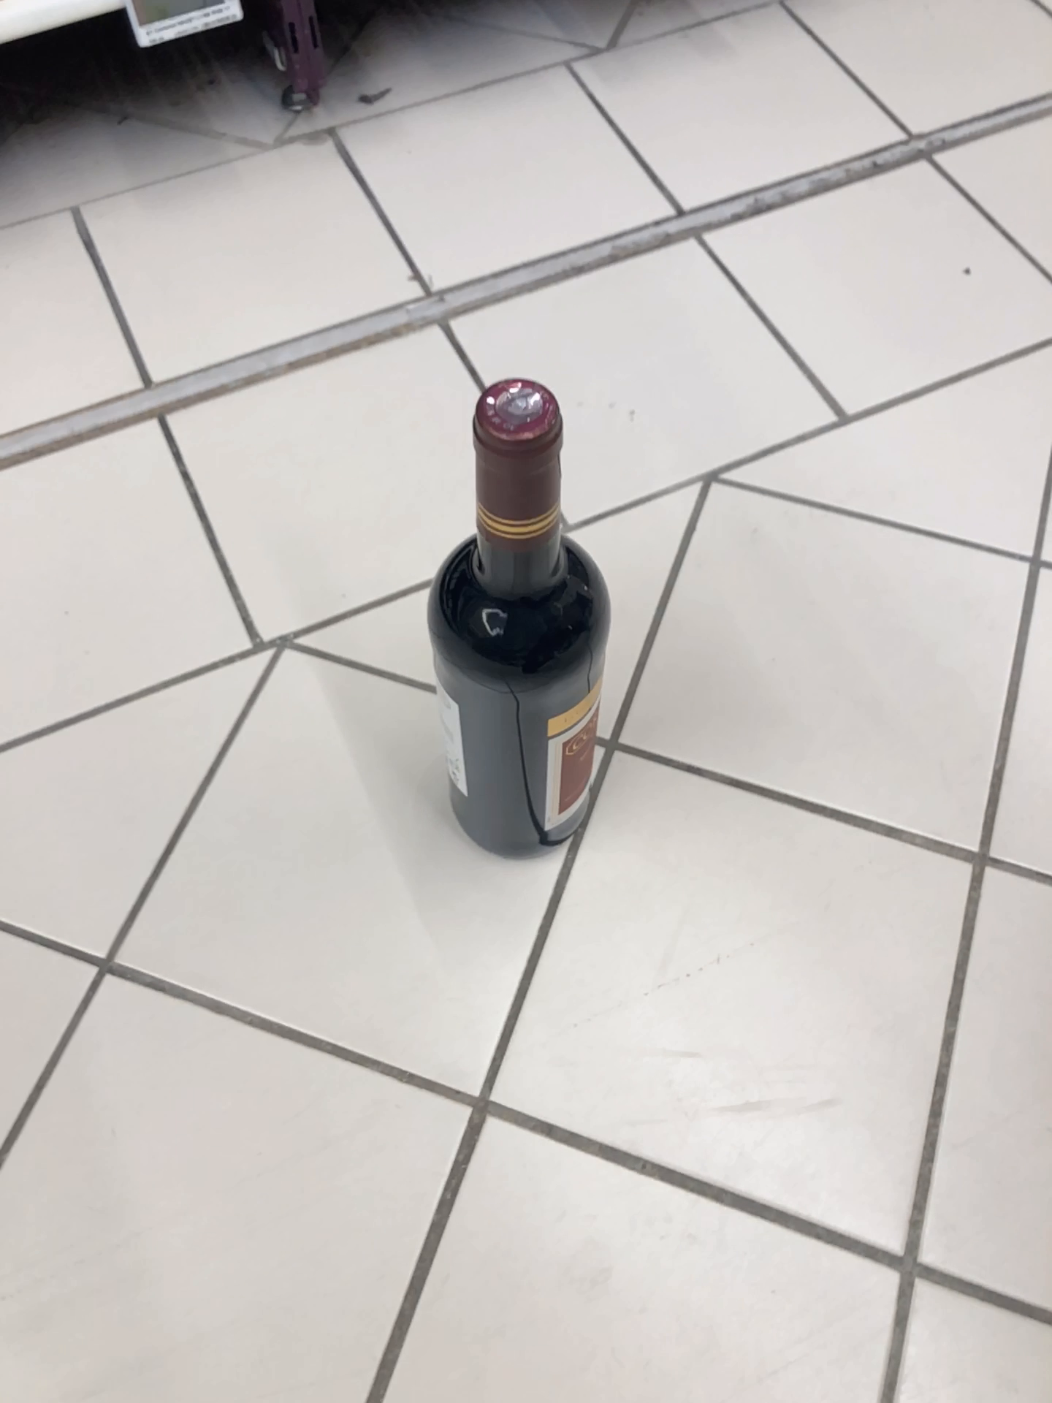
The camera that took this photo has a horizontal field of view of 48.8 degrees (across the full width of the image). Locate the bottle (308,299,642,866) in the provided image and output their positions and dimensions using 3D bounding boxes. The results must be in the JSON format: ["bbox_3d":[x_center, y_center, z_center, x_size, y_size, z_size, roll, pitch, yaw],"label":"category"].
[{"bbox_3d":[-0.013,-0.027,0.489,0.100,0.269,0.100,0,61,1],"label":"bottle"}]
